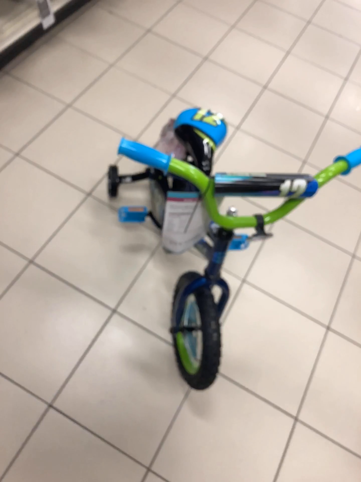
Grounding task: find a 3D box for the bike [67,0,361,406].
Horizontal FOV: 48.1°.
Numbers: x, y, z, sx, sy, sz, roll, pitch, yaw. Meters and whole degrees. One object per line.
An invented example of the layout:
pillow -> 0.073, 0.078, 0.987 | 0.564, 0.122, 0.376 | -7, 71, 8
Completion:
bike -> 0.042, -0.097, 1.007 | 0.548, 0.676, 0.796 | -2, 62, -11
